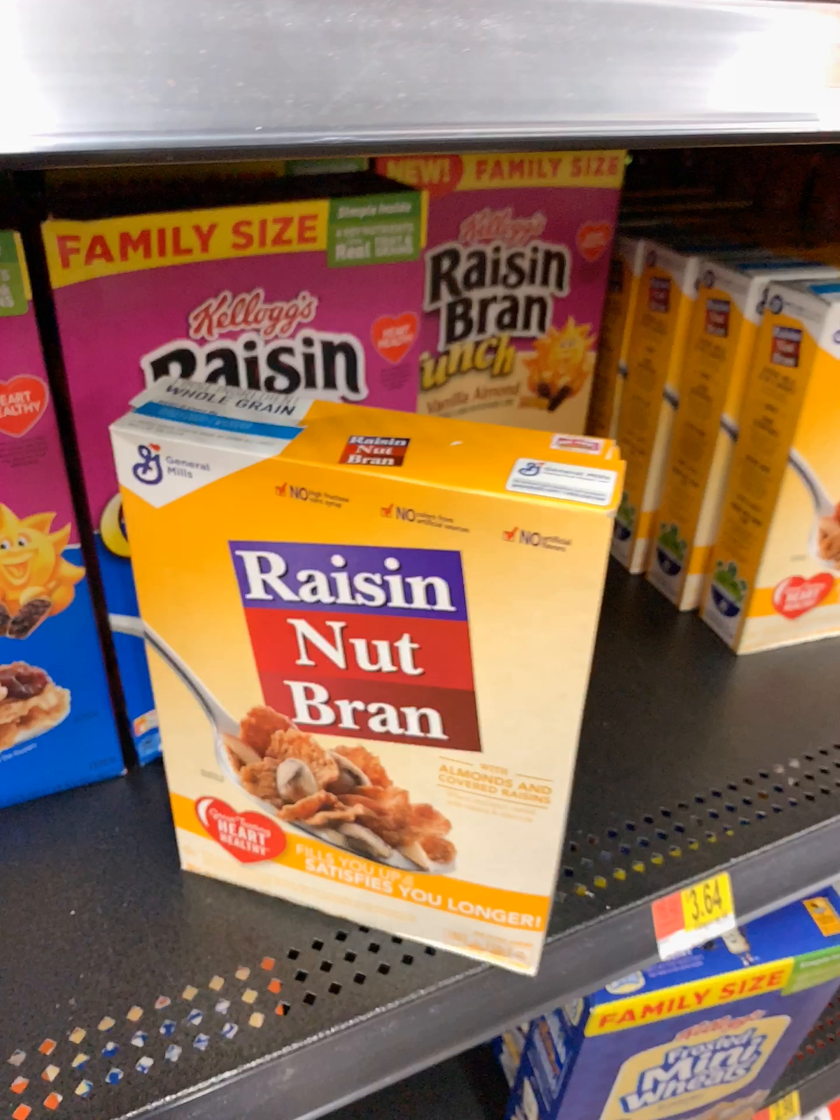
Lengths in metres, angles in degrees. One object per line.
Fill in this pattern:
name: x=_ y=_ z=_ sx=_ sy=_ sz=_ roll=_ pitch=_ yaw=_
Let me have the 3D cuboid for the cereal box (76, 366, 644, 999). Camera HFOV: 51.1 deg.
cereal box: x=-0.027 y=0.062 z=0.391 sx=0.200 sy=0.259 sz=0.060 roll=11 pitch=33 yaw=14
